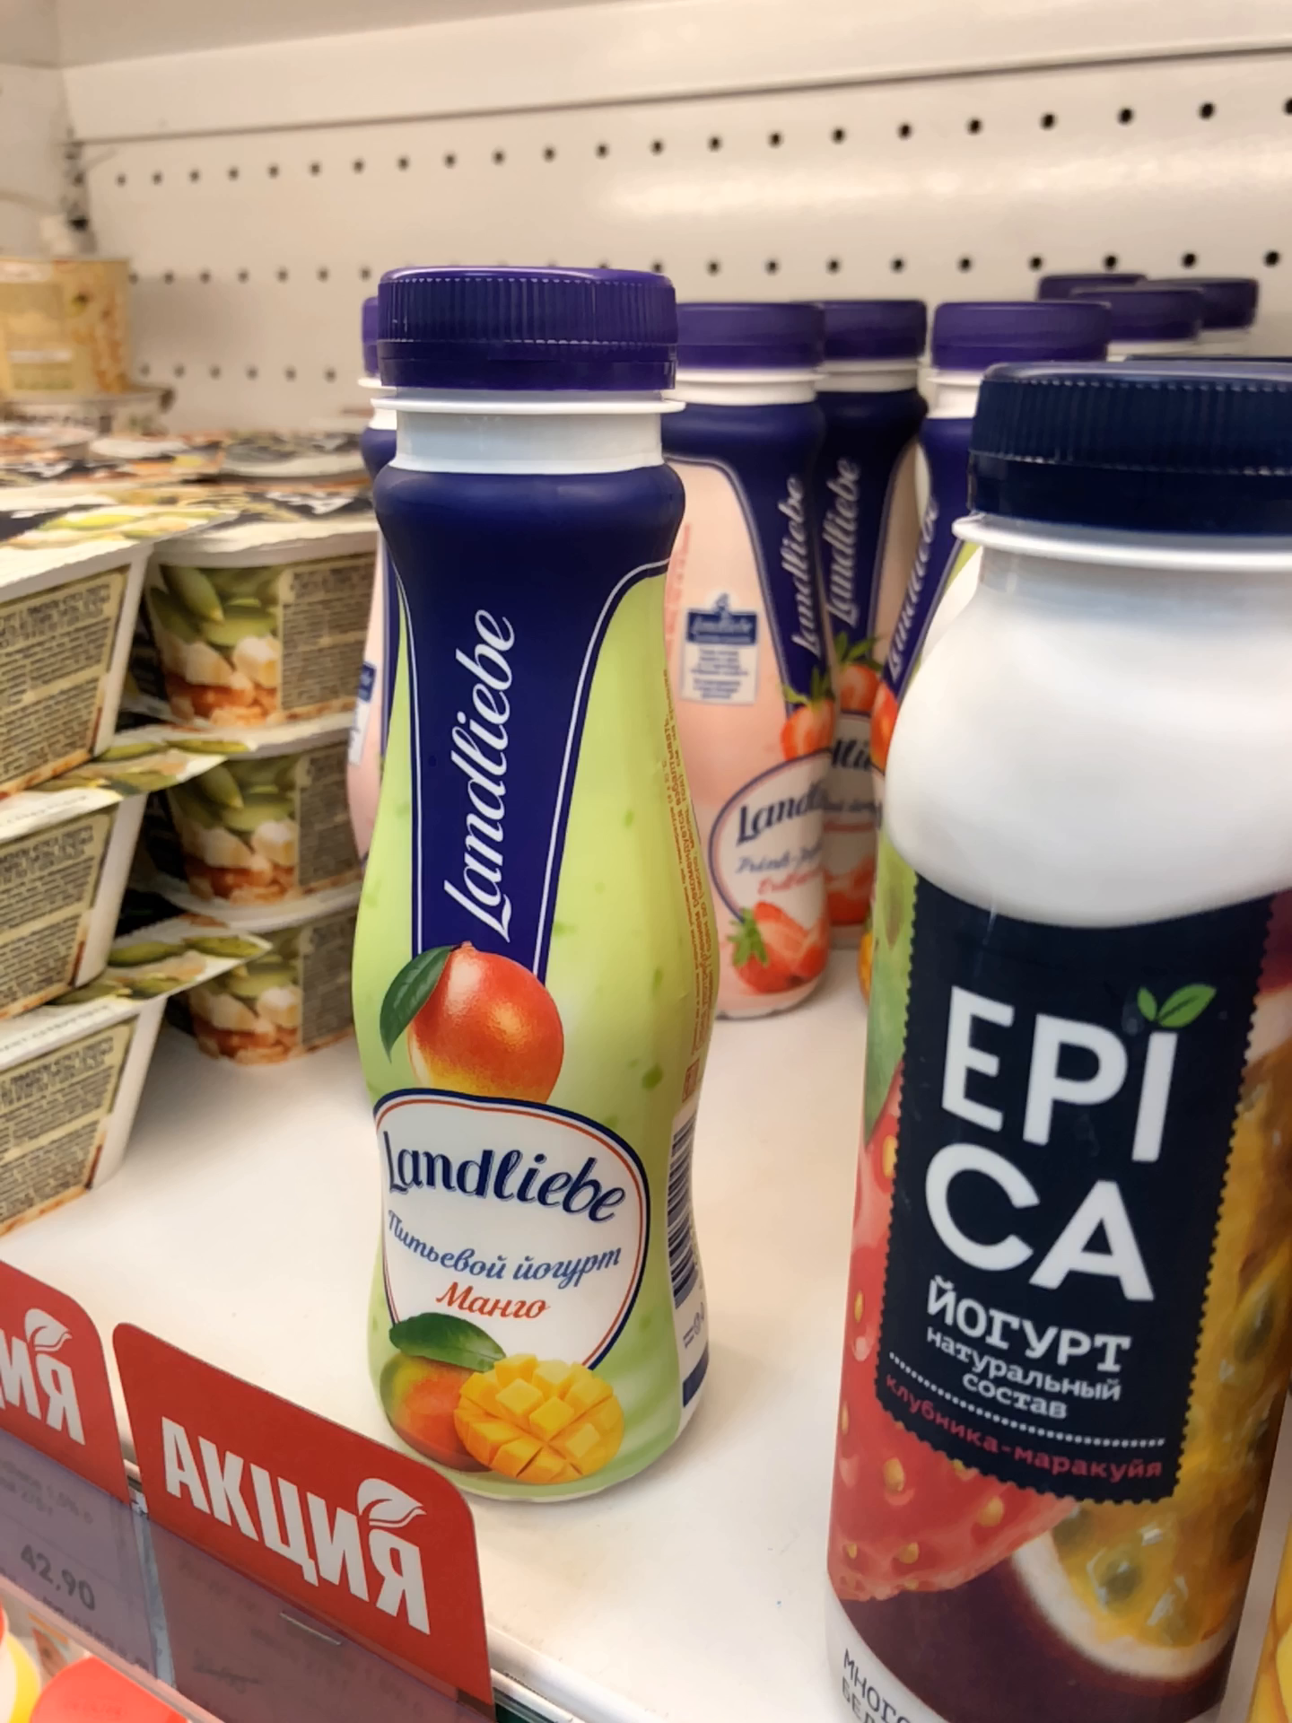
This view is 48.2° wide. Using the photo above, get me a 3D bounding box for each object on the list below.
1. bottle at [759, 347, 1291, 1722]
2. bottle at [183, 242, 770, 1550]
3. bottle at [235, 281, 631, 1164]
[{"bbox_3d":[0.049,0.032,0.168,0.051,0.173,0.048,0,20,0],"label":"bottle"},{"bbox_3d":[-0.019,0.005,0.215,0.055,0.177,0.054,0,20,0],"label":"bottle"},{"bbox_3d":[-0.041,-0.031,0.318,0.056,0.179,0.054,0,20,0],"label":"bottle"}]
